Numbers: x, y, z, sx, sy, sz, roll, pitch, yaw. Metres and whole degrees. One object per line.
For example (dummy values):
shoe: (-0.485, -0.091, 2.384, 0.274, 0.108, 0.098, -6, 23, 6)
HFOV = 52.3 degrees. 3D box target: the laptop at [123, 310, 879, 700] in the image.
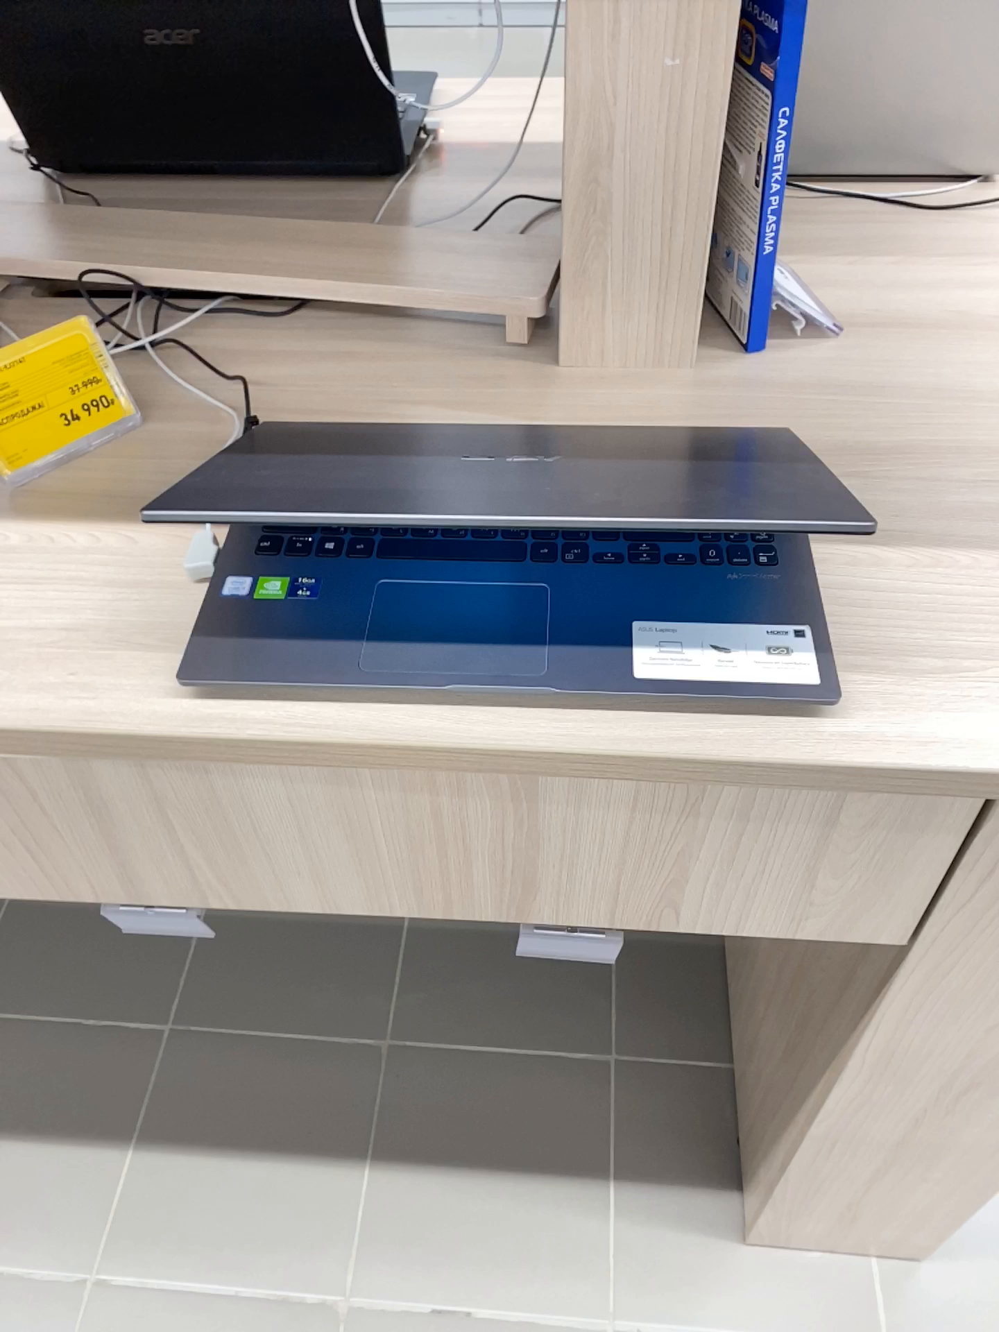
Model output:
laptop: (0.005, -0.104, 0.586, 0.353, 0.088, 0.237, 2, 47, 3)
